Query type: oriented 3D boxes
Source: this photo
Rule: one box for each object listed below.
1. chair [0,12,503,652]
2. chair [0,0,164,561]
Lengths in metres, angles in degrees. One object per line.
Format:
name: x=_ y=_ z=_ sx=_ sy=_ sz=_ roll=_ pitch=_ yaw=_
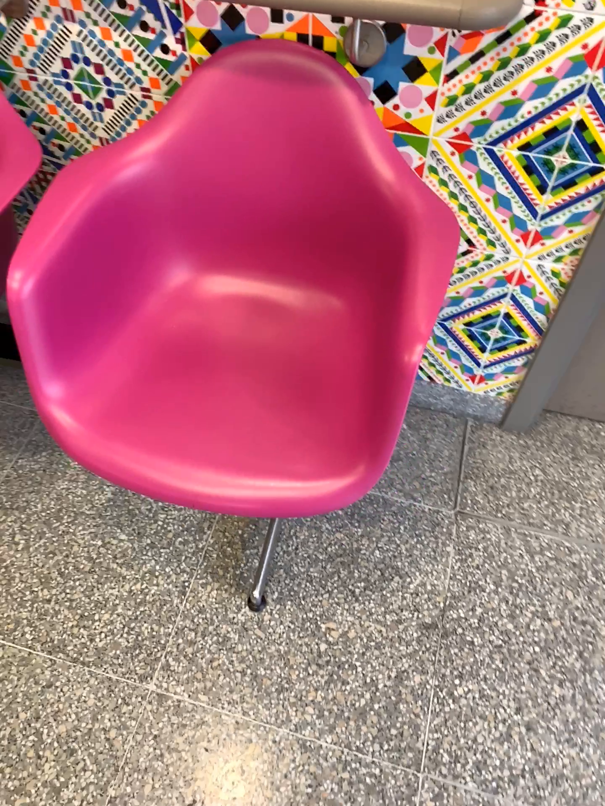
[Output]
chair: x=-0.062 y=-0.068 z=1.013 sx=0.520 sy=0.764 sz=0.605 roll=13 pitch=55 yaw=9
chair: x=-0.679 y=-0.210 z=1.101 sx=0.520 sy=0.764 sz=0.605 roll=13 pitch=55 yaw=9
